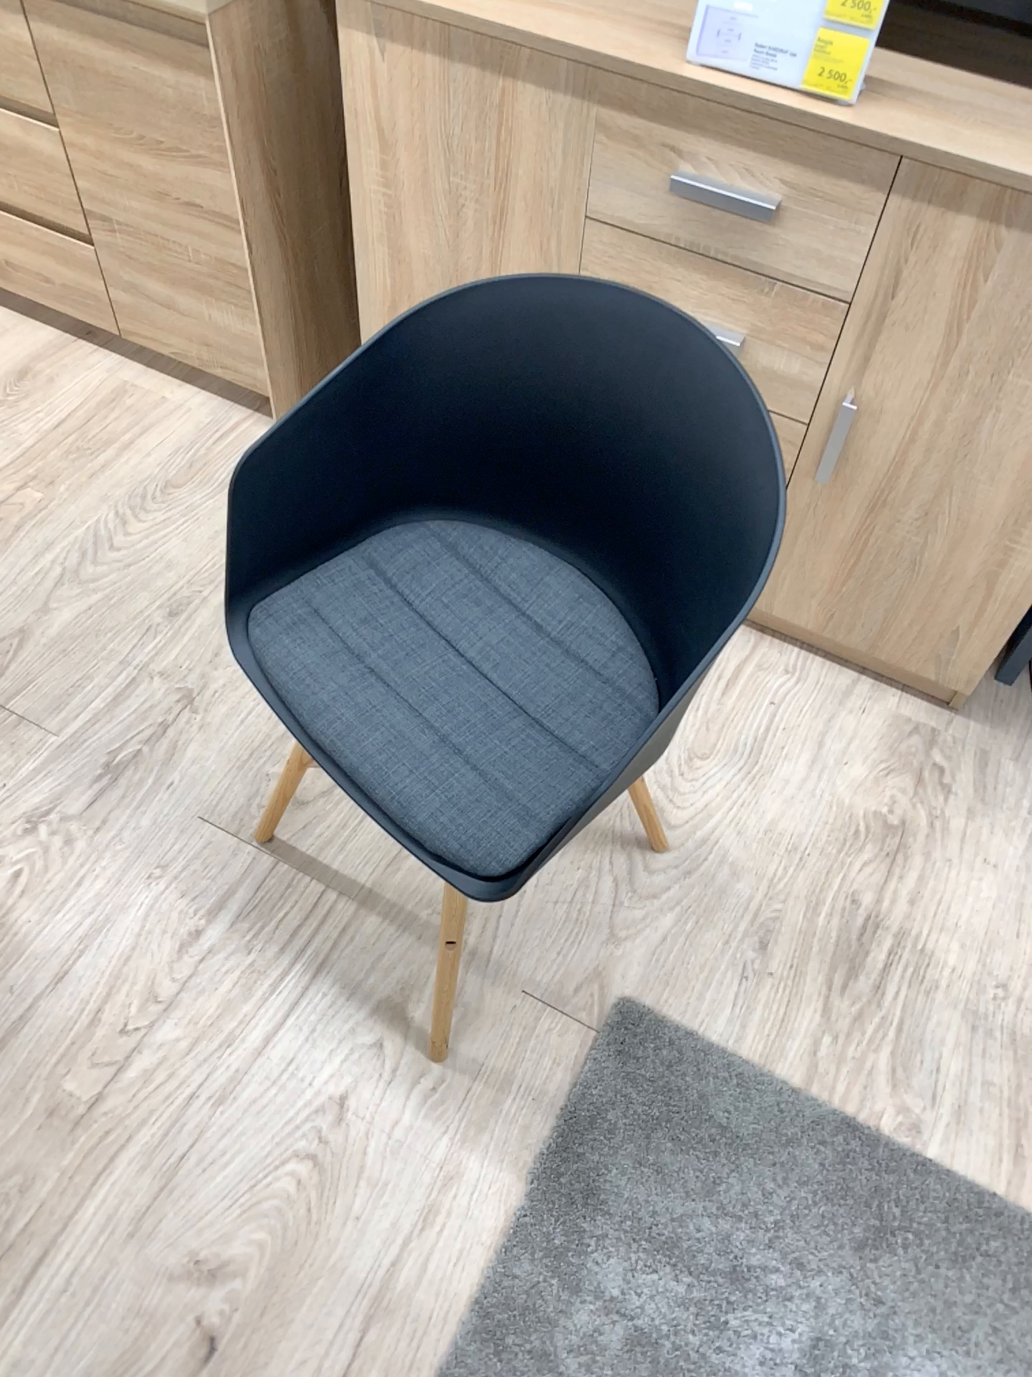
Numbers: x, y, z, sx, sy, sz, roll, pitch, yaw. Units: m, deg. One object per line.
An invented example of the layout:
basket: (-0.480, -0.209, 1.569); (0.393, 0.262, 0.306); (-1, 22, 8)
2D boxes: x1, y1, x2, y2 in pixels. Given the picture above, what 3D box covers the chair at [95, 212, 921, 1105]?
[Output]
chair: (-0.021, -0.001, 1.261); (0.551, 0.787, 0.511); (-36, 62, -26)
